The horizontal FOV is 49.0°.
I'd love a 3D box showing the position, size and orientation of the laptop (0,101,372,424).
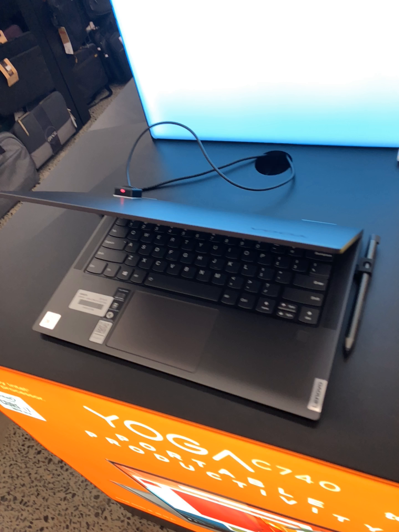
[{"bbox_3d":[-0.025,-0.029,0.425,0.320,0.144,0.210,11,55,24],"label":"laptop"}]
